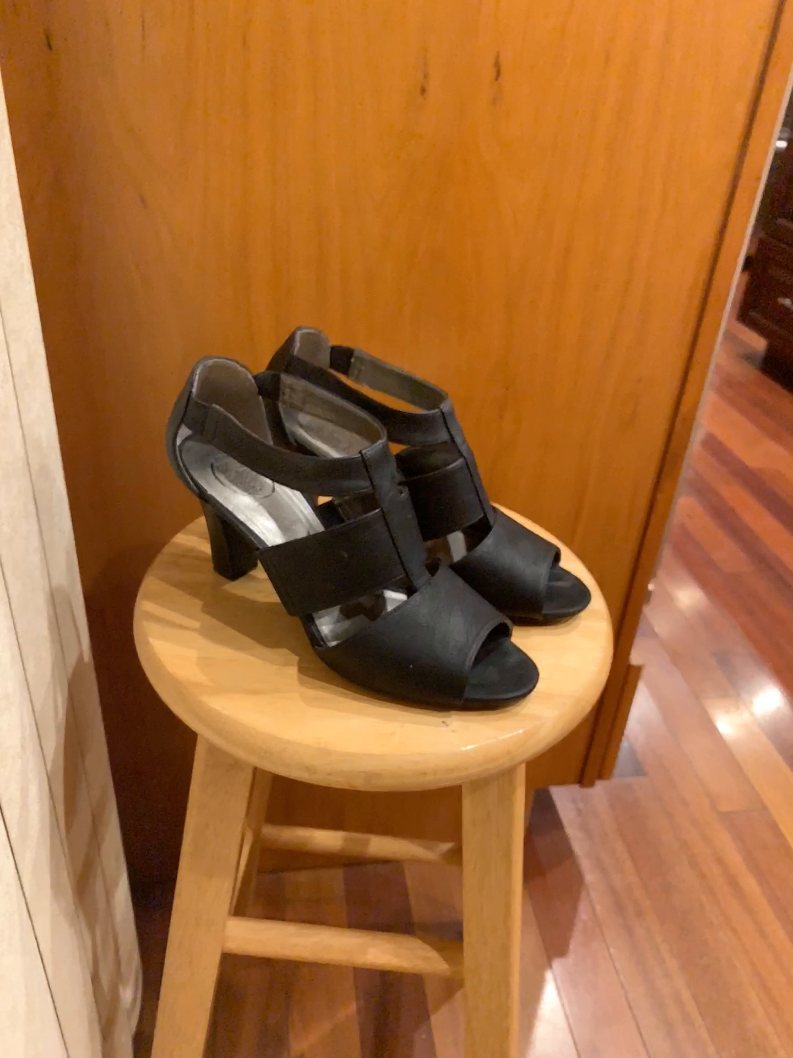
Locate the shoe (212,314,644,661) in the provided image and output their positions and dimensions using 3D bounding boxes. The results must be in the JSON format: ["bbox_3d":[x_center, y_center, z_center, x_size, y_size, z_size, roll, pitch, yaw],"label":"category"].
[{"bbox_3d":[0.014,-0.035,0.514,0.234,0.130,0.100,17,34,20],"label":"shoe"}]

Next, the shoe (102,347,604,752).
[{"bbox_3d":[-0.030,0.000,0.450,0.244,0.125,0.090,19,34,22],"label":"shoe"}]
